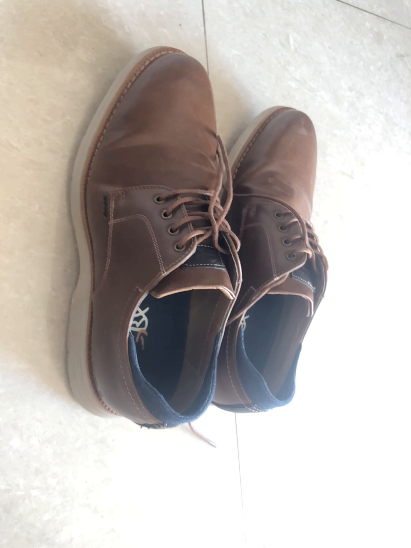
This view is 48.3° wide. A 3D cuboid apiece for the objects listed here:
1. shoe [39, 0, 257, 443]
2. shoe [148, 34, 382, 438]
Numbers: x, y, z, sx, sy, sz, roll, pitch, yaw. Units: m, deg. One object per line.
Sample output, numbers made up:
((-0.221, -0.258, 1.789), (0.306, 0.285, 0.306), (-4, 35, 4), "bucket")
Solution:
((-0.045, -0.045, 0.359), (0.100, 0.100, 0.310), (9, 84, -35), "shoe")
((0.057, -0.031, 0.410), (0.100, 0.100, 0.310), (22, 77, -33), "shoe")
